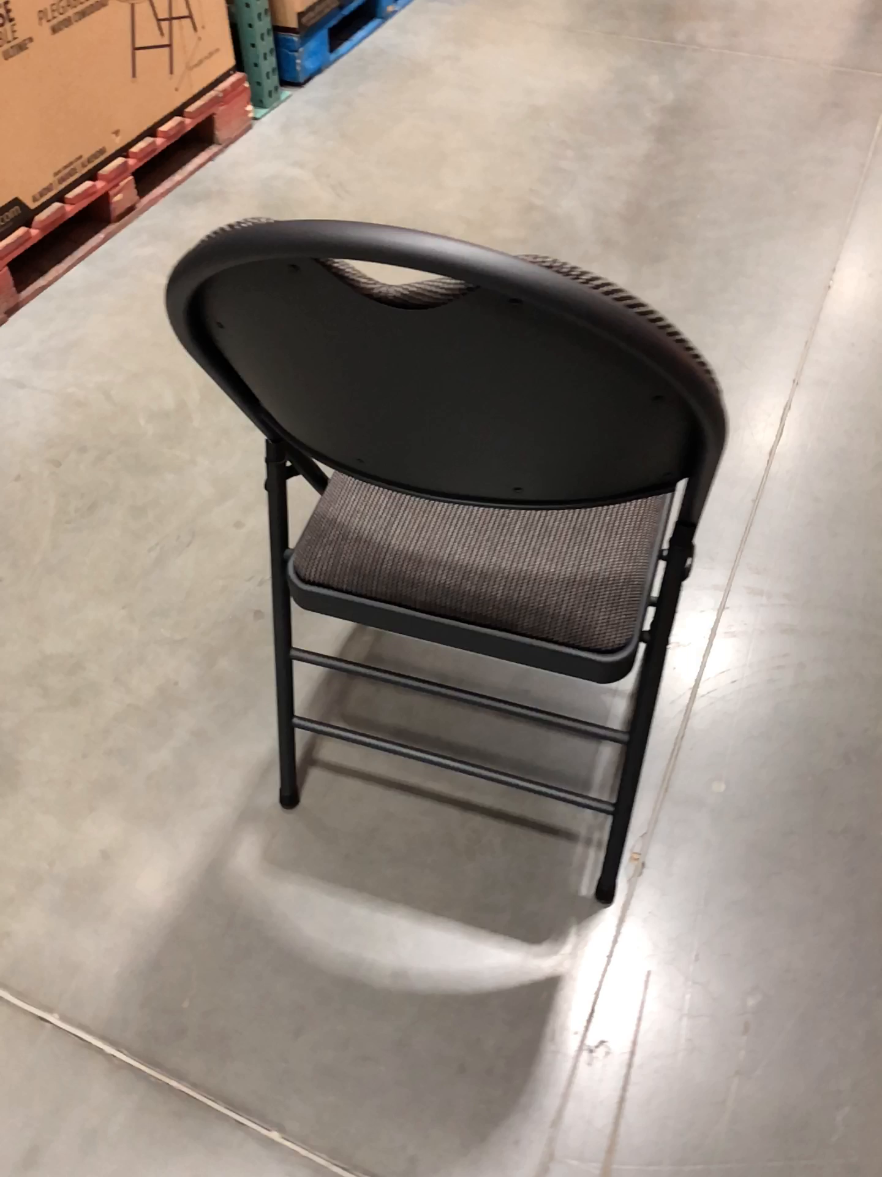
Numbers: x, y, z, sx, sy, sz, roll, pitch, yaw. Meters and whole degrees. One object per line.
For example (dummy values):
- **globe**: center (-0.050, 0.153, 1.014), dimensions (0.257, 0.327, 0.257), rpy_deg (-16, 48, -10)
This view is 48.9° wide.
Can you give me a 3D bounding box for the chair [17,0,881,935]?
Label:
- **chair**: center (0.072, -0.142, 1.057), dimensions (0.520, 0.867, 0.562), rpy_deg (14, 50, 13)
